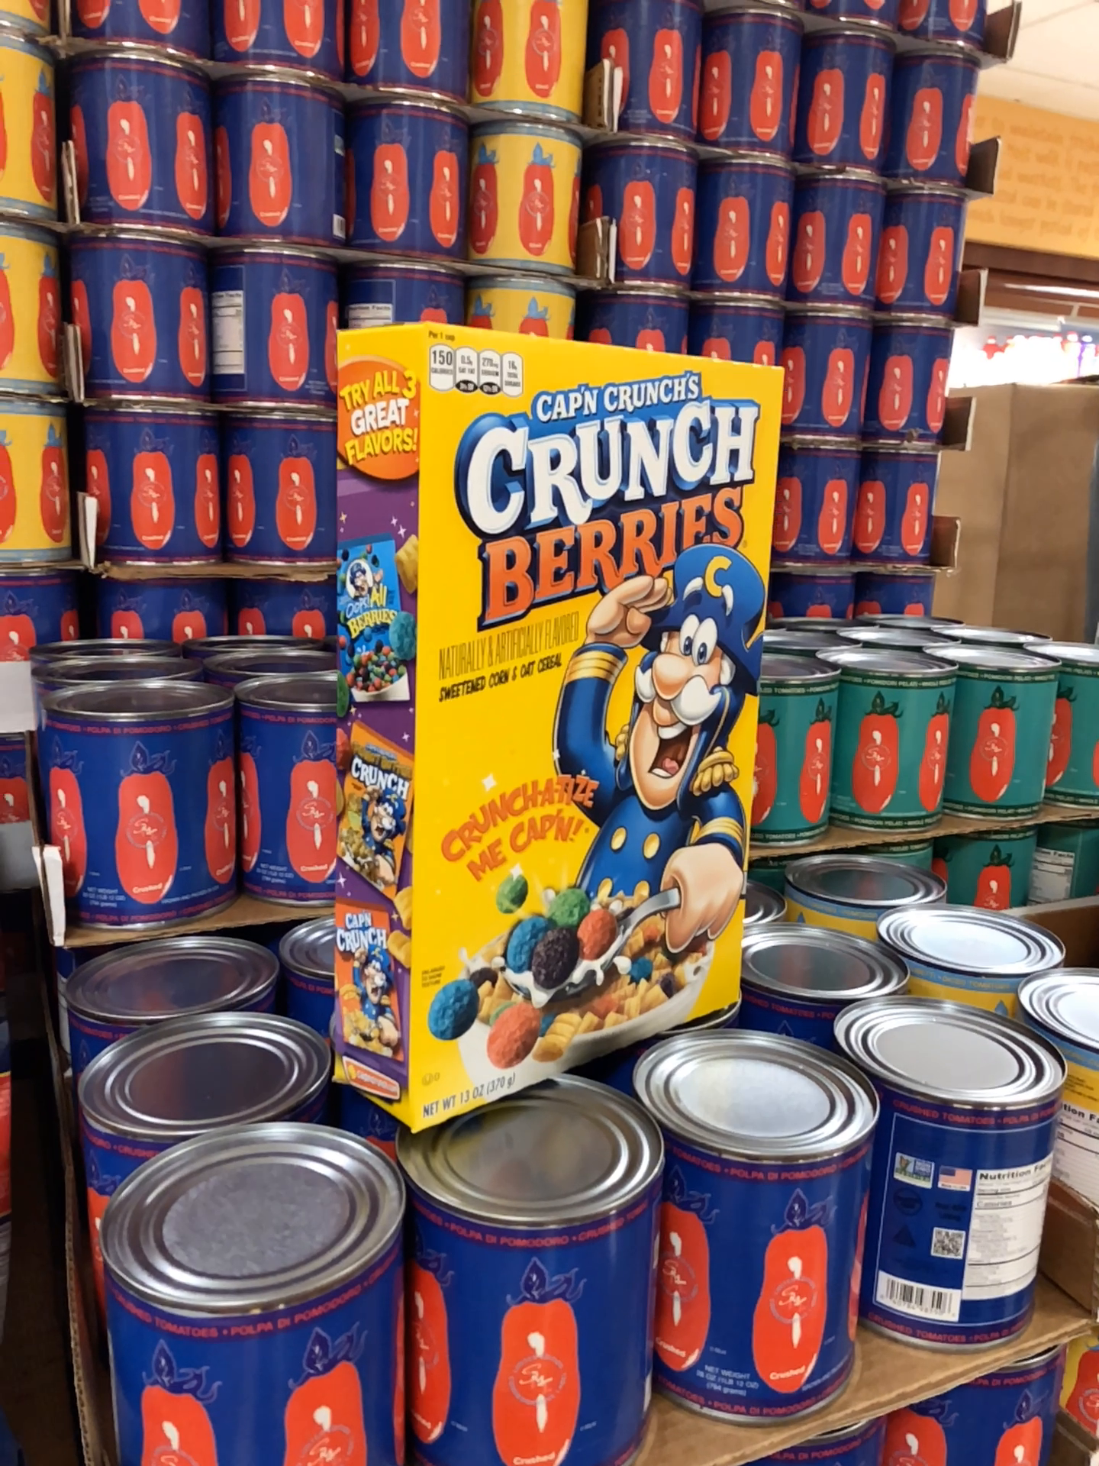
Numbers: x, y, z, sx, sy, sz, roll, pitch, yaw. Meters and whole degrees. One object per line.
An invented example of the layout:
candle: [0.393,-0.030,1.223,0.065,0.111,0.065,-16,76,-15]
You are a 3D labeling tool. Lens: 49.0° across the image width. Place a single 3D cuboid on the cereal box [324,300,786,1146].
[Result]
cereal box: [0.005,-0.010,0.503,0.191,0.299,0.060,-8,15,-41]
